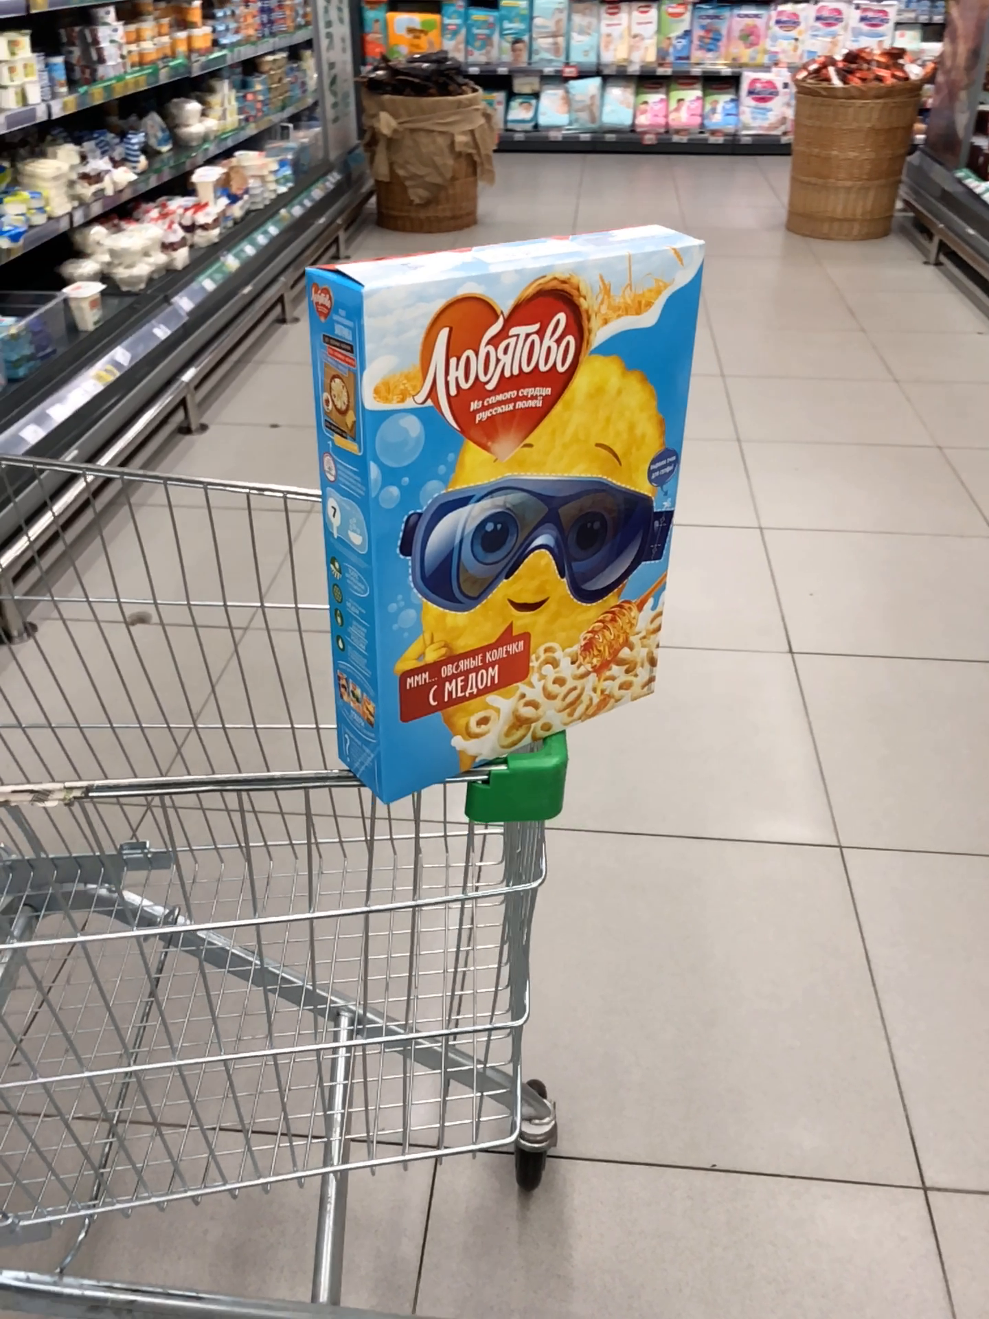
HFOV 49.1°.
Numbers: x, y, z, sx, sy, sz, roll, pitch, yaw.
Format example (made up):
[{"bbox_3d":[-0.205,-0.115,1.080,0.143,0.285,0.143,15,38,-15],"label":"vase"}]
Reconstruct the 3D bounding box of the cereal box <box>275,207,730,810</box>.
[{"bbox_3d":[0.008,-0.076,0.531,0.200,0.249,0.060,-20,37,-31],"label":"cereal box"}]
